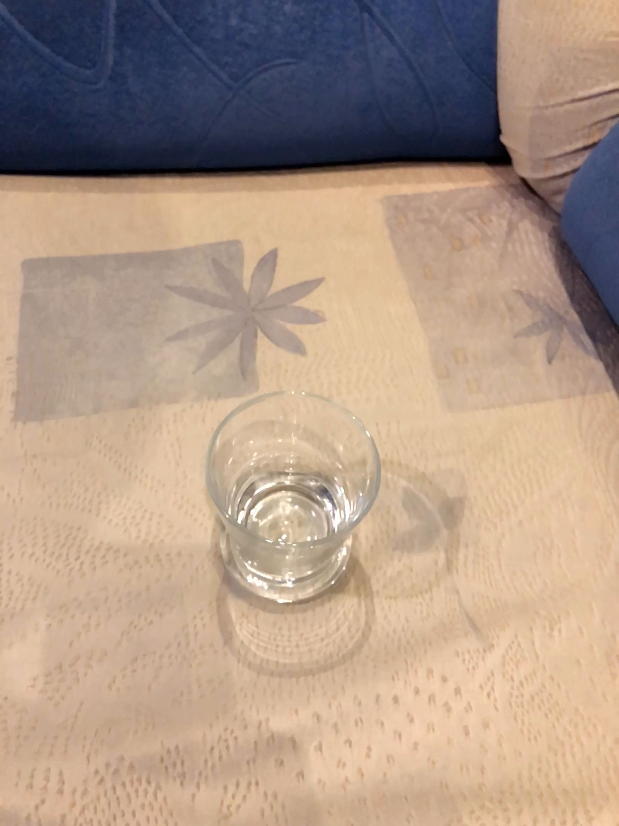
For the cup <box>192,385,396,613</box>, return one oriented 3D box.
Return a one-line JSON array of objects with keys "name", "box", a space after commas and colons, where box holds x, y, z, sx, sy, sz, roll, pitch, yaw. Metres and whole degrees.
[{"name": "cup", "box": [-0.010, 0.046, 0.349, 0.086, 0.083, 0.085, 2, 54, -3]}]
